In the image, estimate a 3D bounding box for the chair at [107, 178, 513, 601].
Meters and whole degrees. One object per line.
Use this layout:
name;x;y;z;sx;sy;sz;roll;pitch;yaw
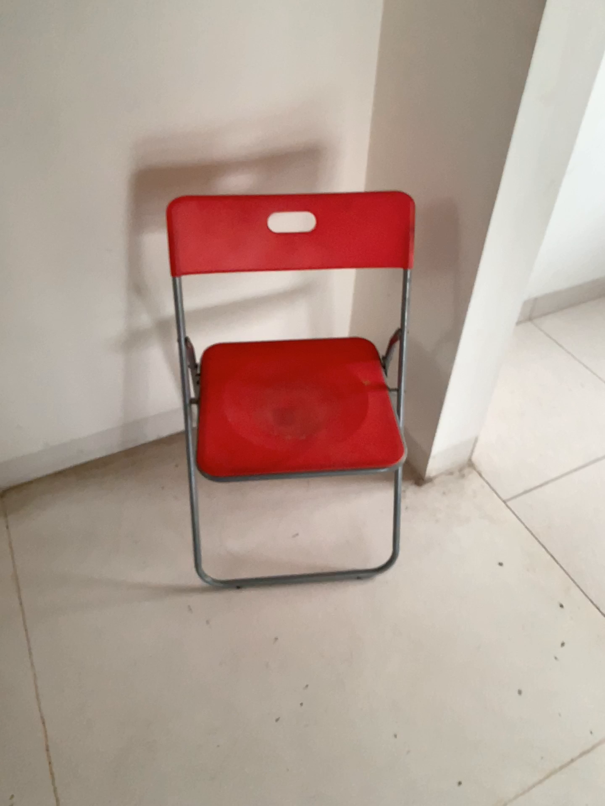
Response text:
chair;-0.018;-0.023;1.198;0.530;0.608;0.502;-3;45;-6
